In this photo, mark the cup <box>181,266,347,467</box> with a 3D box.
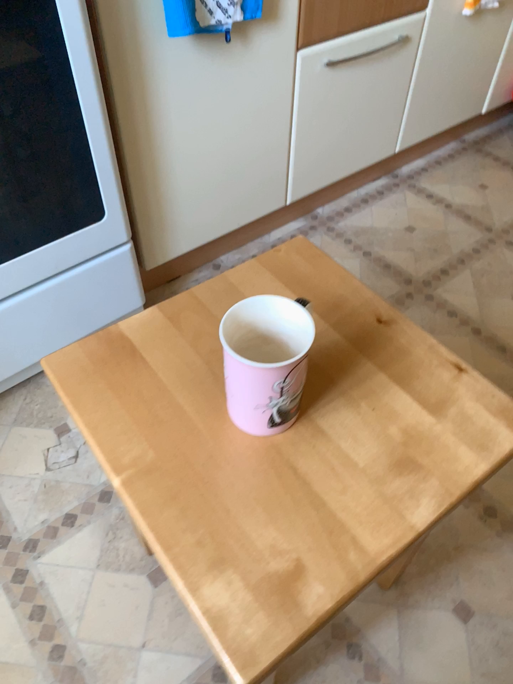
[{"bbox_3d":[0.007,0.019,0.442,0.080,0.099,0.111,28,54,22],"label":"cup"}]
